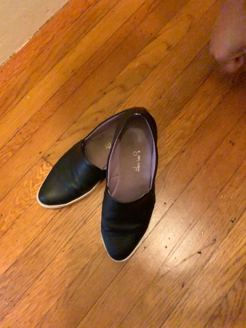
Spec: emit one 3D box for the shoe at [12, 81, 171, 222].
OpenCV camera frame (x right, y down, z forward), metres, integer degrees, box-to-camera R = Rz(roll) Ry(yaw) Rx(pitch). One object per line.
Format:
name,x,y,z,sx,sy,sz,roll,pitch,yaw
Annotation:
shoe,-0.049,-0.020,0.458,0.260,0.080,0.100,-38,74,-6

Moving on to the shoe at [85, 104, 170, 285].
shoe,0.009,0.041,0.394,0.100,0.080,0.250,5,96,8
